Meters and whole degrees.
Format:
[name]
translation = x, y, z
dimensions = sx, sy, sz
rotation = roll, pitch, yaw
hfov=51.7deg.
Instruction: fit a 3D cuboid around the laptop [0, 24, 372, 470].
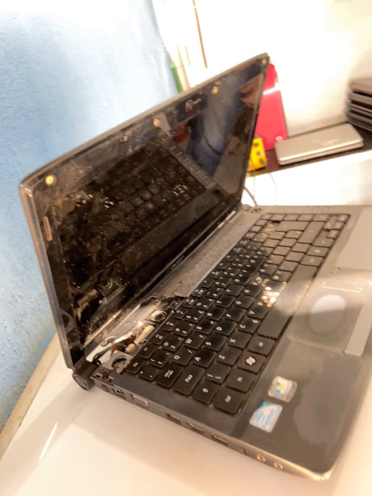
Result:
[laptop]
translation = 0.052, -0.048, 0.354
dimensions = 0.228, 0.182, 0.335
rotation = 4, 34, 38
